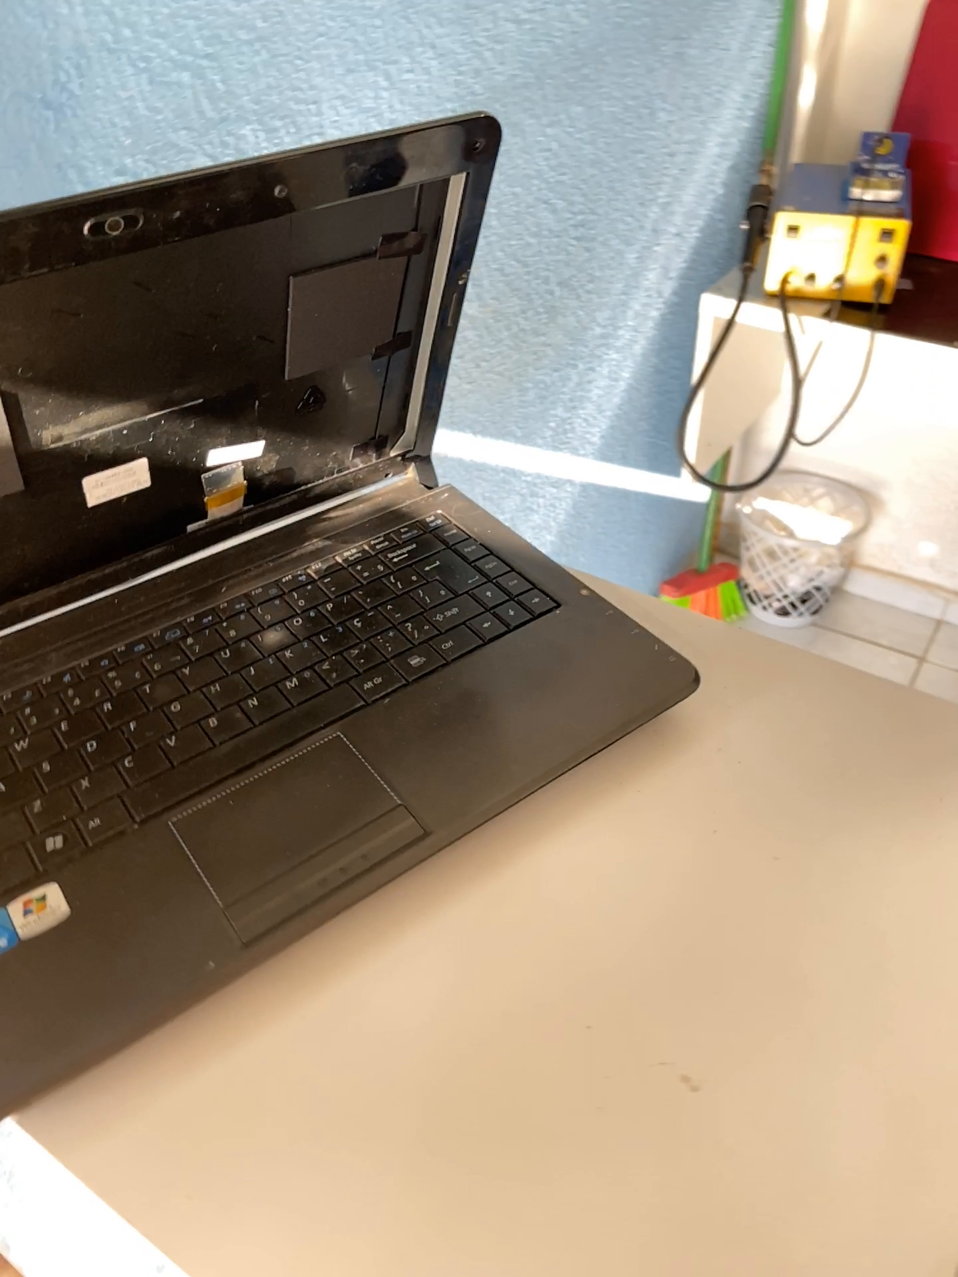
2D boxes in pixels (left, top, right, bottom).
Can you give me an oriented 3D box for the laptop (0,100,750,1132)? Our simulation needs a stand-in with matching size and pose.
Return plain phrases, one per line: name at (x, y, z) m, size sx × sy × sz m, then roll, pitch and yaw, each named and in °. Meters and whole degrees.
laptop at (-0.101, -0.046, 0.378) m, size 0.331 × 0.206 × 0.206 m, roll -27°, pitch 46°, yaw -26°
